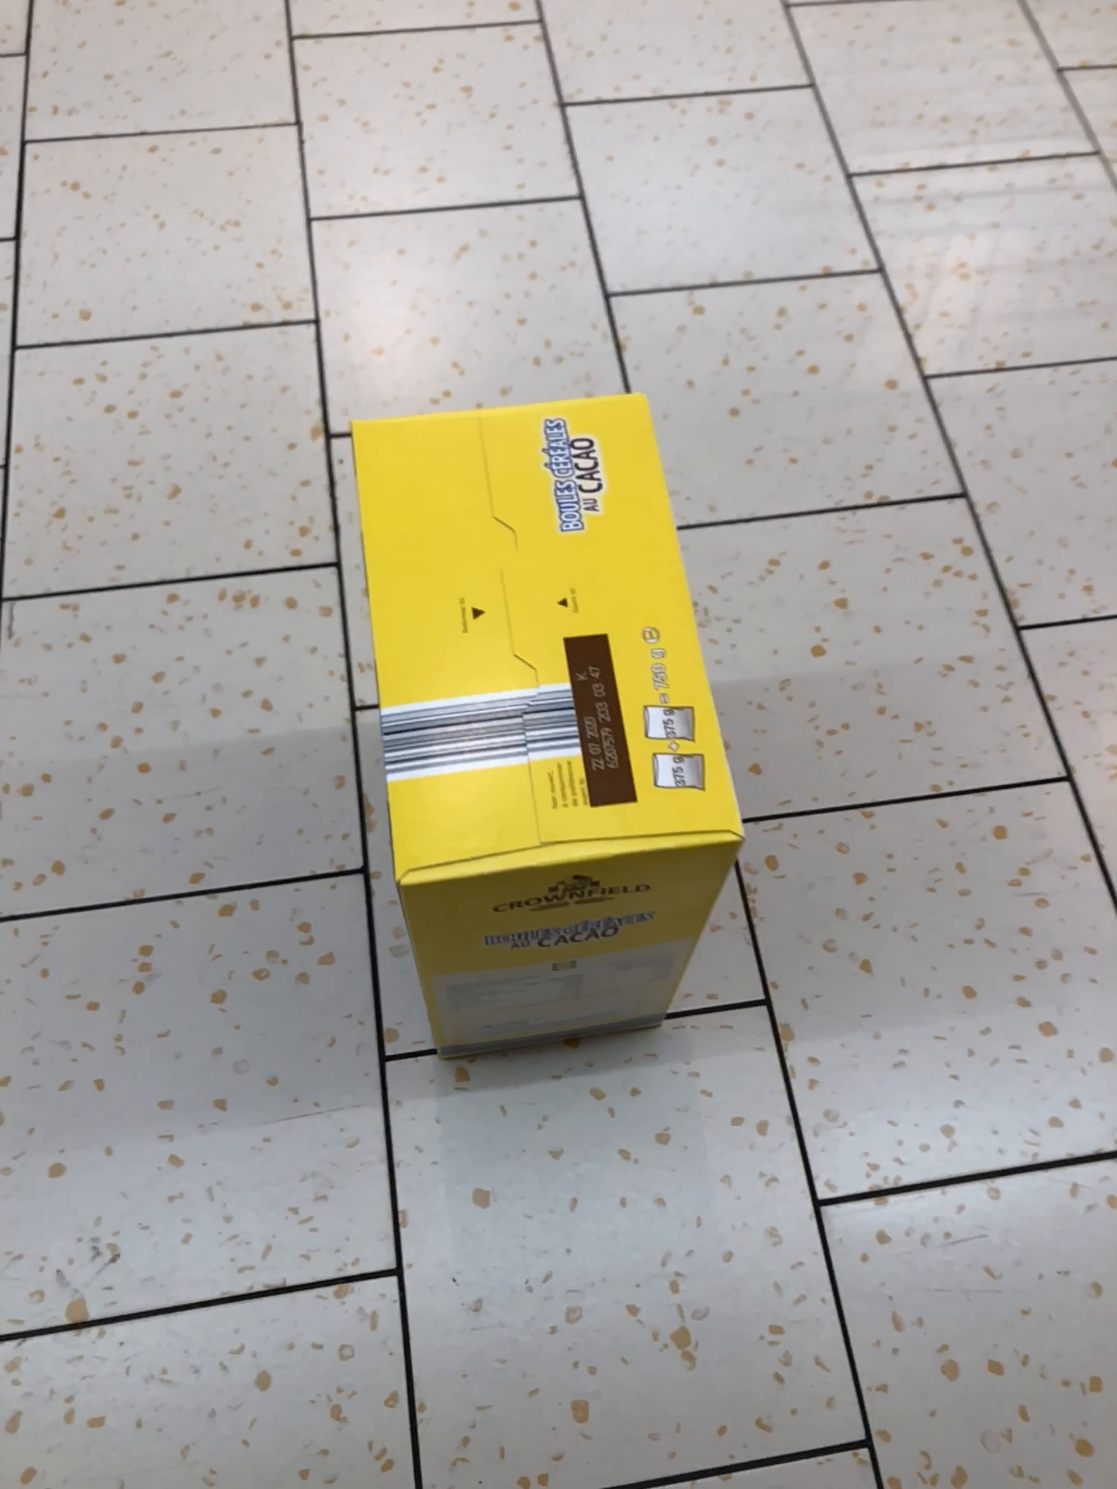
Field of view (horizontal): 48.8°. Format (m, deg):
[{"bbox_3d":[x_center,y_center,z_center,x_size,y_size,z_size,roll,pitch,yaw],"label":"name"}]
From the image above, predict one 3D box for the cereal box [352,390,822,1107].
[{"bbox_3d":[-0.001,0.017,0.531,0.130,0.239,0.211,-7,63,-5],"label":"cereal box"}]
